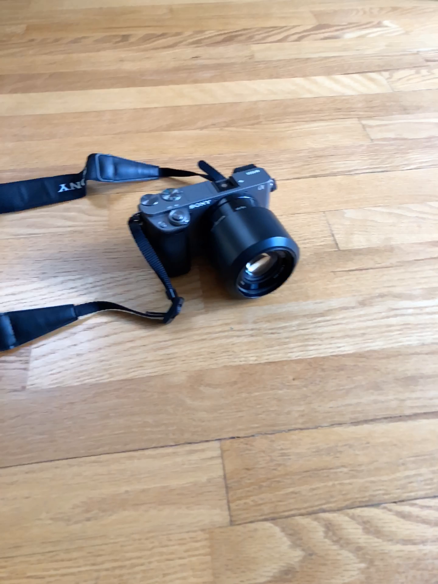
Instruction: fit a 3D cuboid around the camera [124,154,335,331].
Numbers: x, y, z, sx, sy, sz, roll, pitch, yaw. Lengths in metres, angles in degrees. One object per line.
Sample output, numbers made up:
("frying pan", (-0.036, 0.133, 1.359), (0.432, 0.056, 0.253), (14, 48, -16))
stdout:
("camera", (0.005, -0.048, 0.419), (0.140, 0.060, 0.110), (-19, 53, -15))
